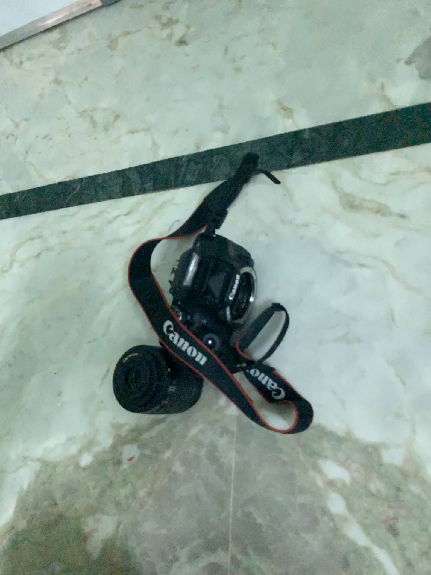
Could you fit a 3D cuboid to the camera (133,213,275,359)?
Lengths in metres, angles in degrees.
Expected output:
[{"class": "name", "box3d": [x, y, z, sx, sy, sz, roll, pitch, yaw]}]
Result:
[{"class": "camera", "box3d": [-0.008, -0.001, 0.430, 0.082, 0.078, 0.112, 14, 81, 30]}]
